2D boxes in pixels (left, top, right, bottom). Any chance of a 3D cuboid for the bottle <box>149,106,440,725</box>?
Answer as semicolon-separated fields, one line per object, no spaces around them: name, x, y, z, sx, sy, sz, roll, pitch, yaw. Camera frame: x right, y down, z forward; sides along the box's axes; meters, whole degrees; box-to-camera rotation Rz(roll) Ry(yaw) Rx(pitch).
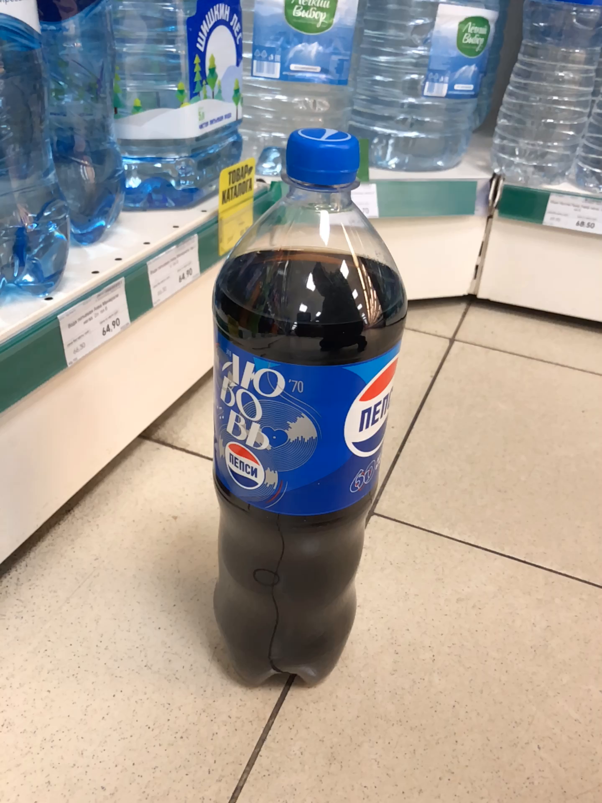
bottle;-0.007;0.025;0.353;0.085;0.315;0.089;2;34;-2
